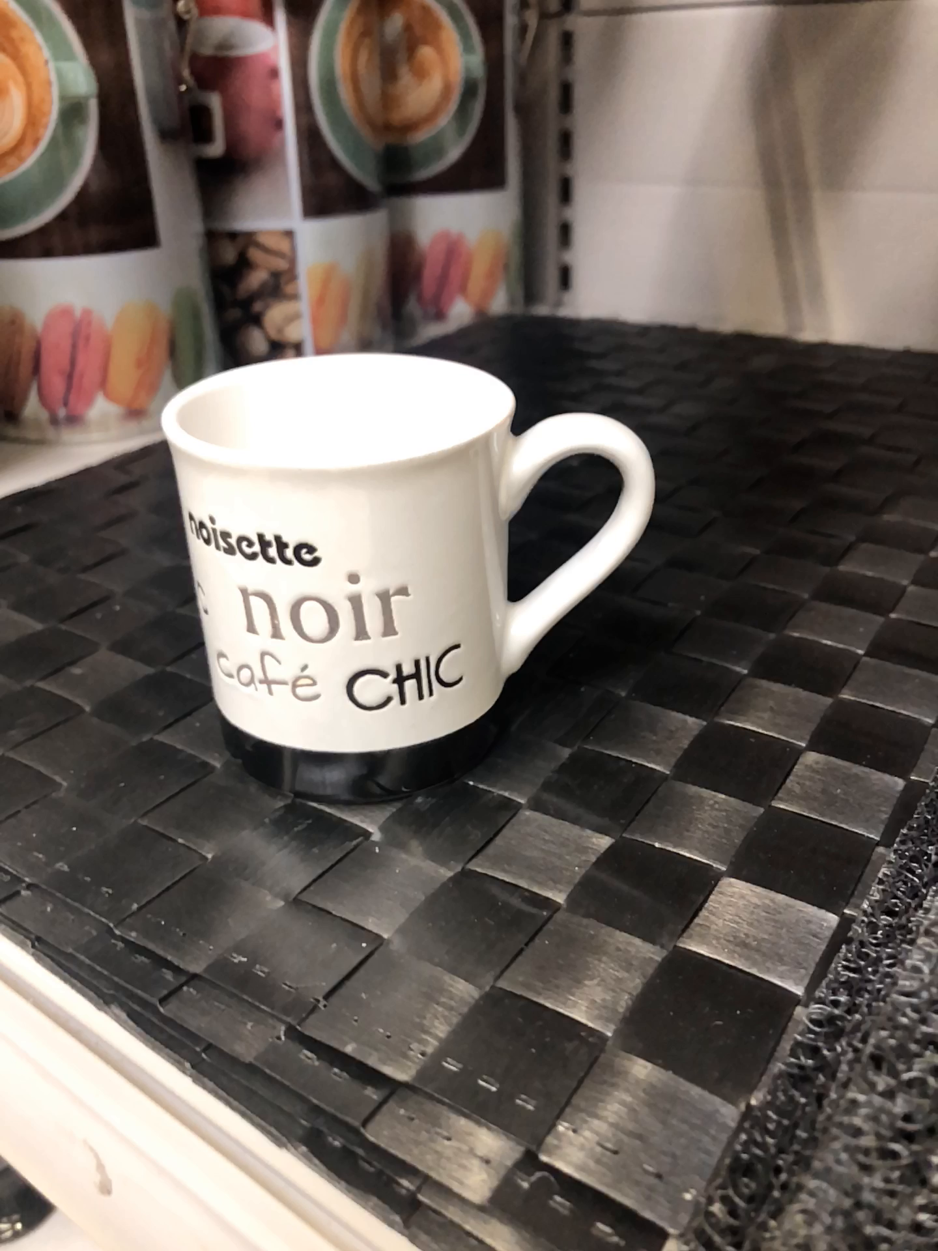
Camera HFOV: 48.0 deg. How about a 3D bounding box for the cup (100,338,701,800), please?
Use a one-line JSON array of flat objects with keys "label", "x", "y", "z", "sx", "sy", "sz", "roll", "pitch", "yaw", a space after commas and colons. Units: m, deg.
[{"label": "cup", "x": -0.008, "y": -0.014, "z": 0.206, "sx": 0.092, "sy": 0.066, "sz": 0.068, "roll": -1, "pitch": 28, "yaw": 3}]
